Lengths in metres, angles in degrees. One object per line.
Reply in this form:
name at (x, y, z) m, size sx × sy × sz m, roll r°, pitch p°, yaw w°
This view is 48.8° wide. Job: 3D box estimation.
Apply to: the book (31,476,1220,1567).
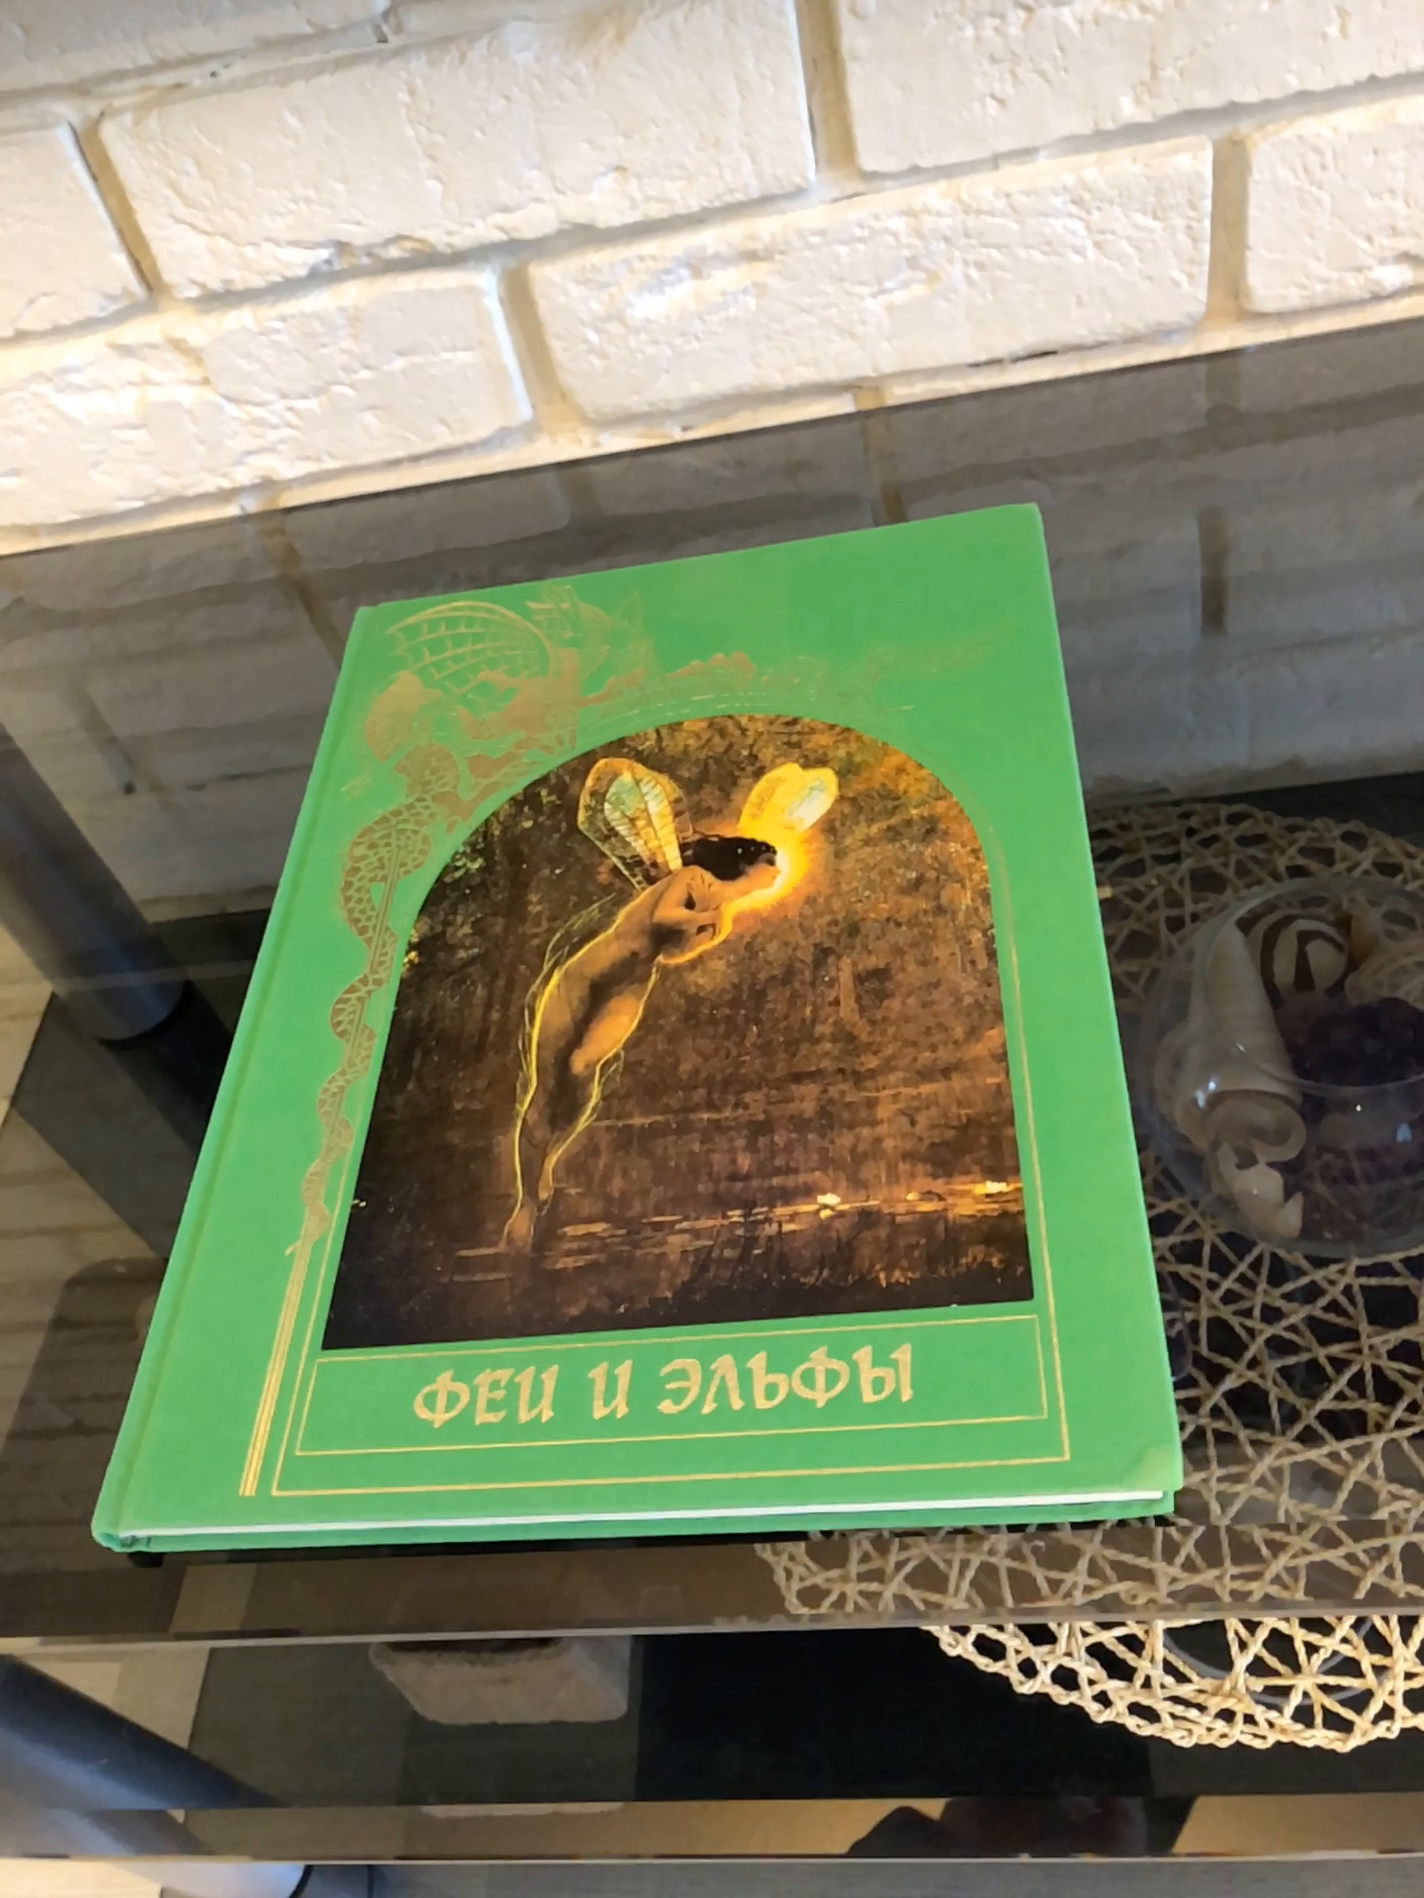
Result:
book at (-0.012, -0.004, 0.382) m, size 0.217 × 0.030 × 0.292 m, roll -5°, pitch 48°, yaw 11°
